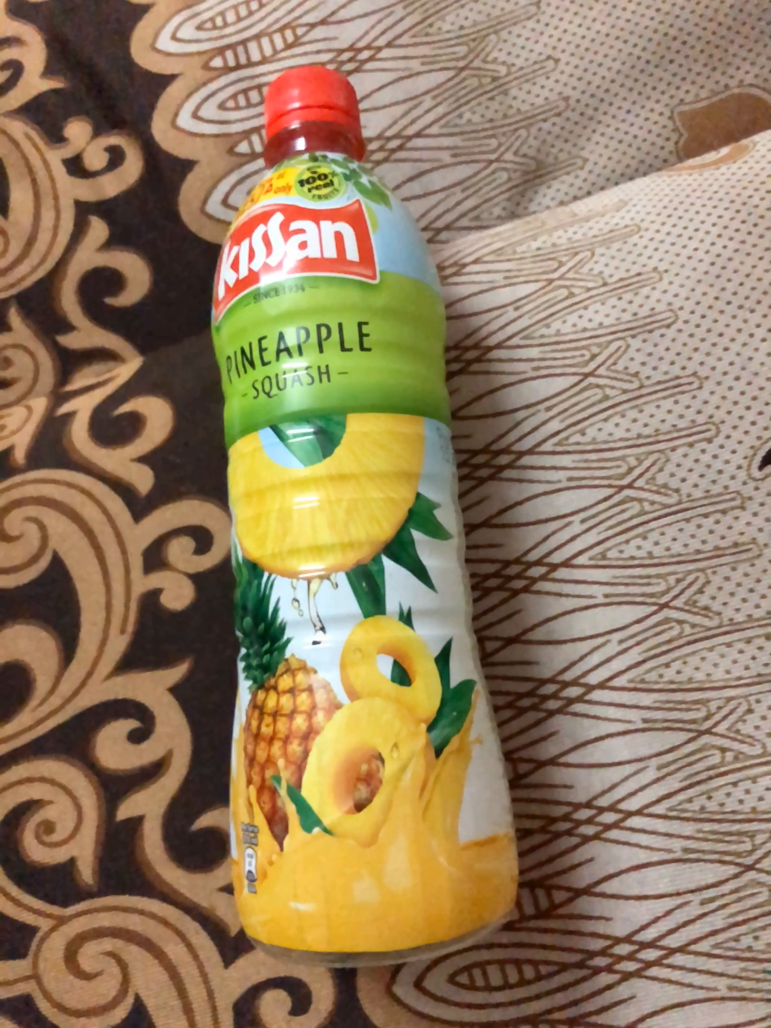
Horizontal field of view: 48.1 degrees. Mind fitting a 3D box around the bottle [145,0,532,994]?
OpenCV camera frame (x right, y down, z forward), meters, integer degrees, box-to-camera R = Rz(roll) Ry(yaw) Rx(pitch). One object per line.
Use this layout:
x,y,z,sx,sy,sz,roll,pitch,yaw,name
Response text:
-0.013,-0.015,0.227,0.070,0.060,0.240,-7,80,13,bottle
